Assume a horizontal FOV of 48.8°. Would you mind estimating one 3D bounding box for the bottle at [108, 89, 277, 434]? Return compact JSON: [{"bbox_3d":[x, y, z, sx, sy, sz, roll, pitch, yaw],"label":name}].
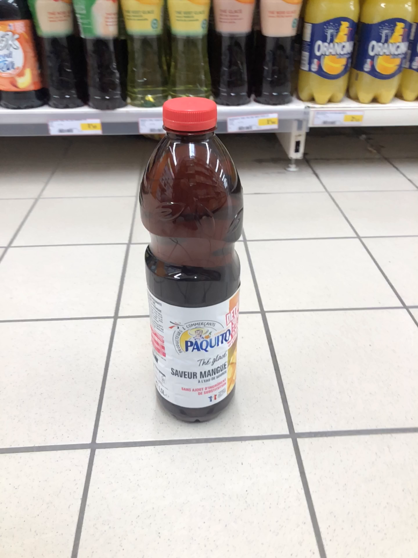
[{"bbox_3d":[-0.016,-0.006,0.413,0.100,0.288,0.090,-11,34,-17],"label":"bottle"}]
